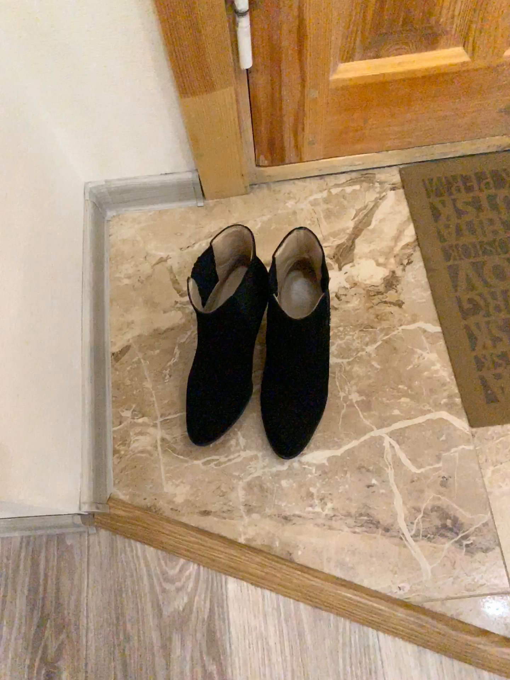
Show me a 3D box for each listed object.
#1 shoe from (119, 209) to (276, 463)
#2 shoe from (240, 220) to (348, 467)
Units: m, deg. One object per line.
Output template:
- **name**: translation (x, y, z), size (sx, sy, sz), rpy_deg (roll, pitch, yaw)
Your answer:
- **shoe**: translation (-0.047, 0.007, 0.590), size (0.086, 0.199, 0.215), rpy_deg (12, 70, 9)
- **shoe**: translation (0.047, 0.015, 0.586), size (0.086, 0.199, 0.215), rpy_deg (4, 69, 6)
